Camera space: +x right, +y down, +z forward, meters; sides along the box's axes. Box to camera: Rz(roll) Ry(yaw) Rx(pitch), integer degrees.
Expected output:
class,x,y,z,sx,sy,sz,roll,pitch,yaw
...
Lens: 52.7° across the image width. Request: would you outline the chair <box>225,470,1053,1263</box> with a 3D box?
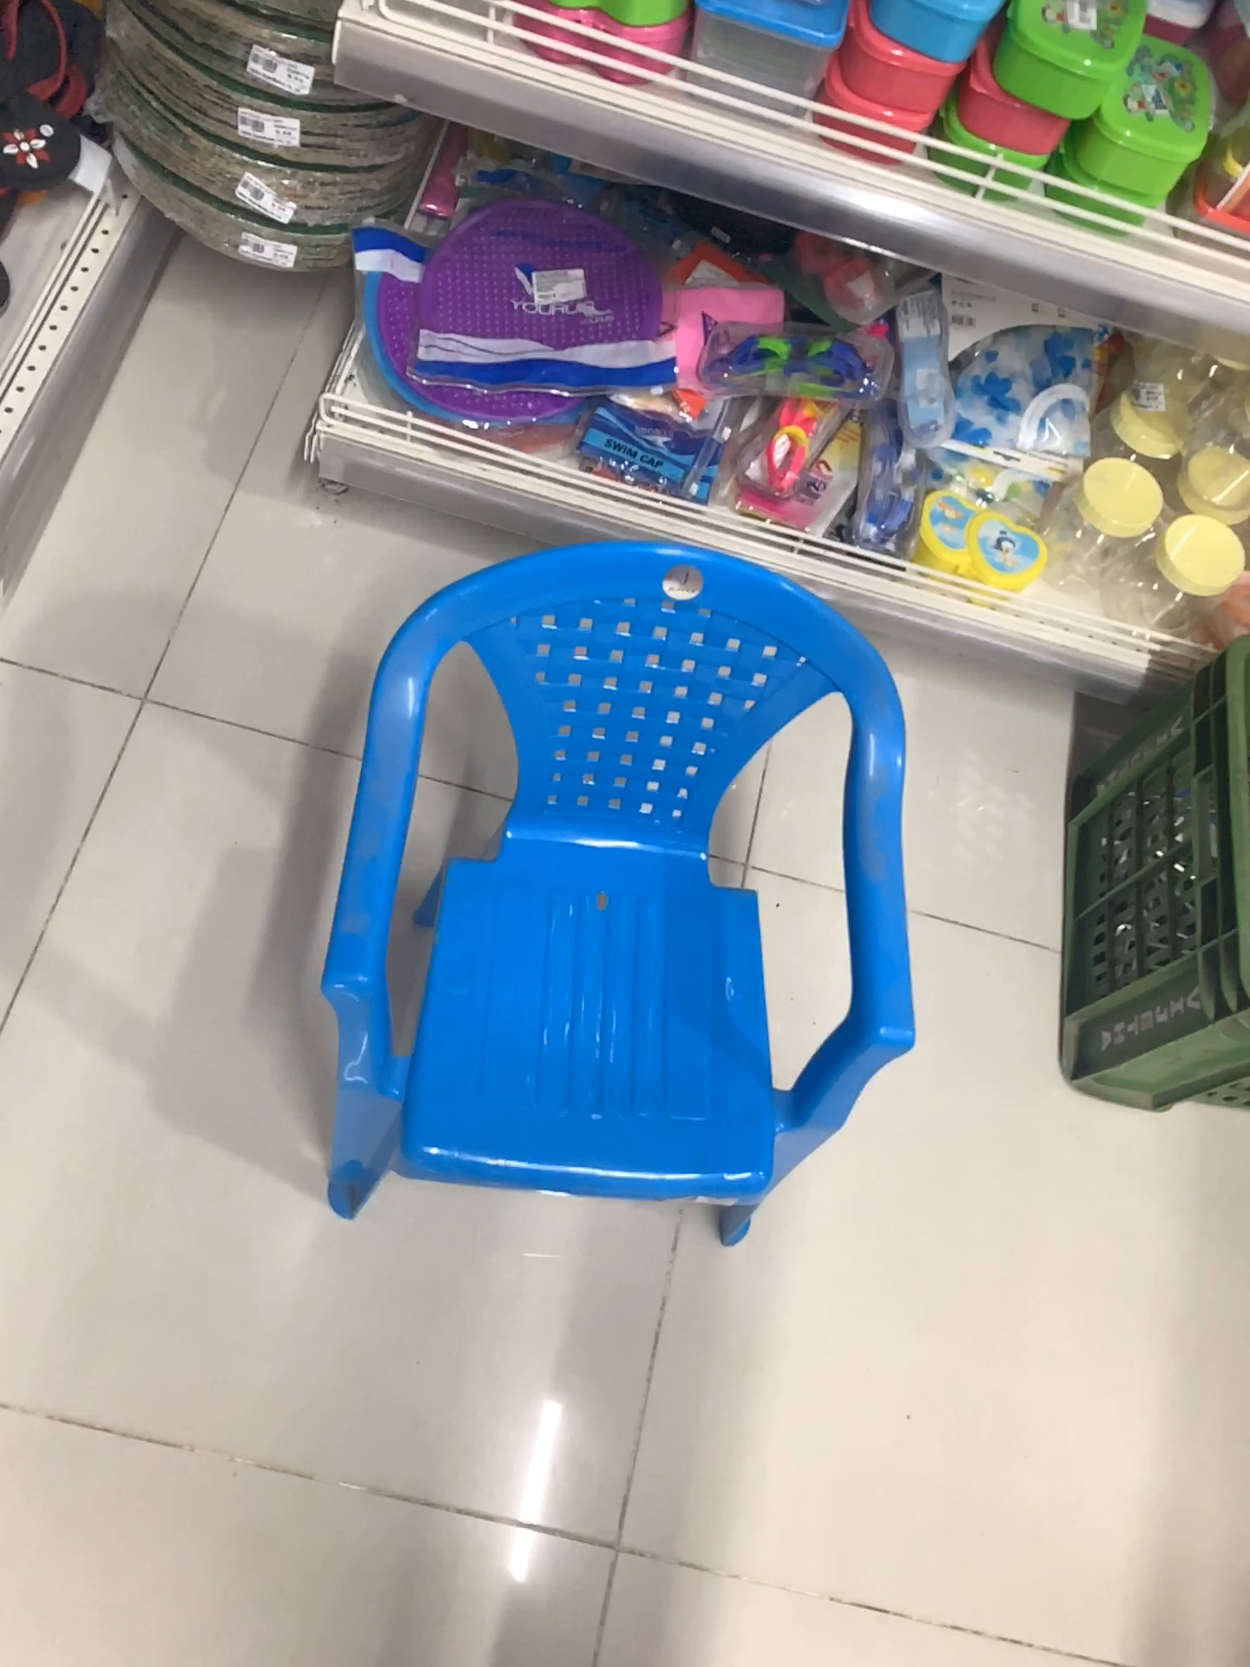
class,x,y,z,sx,sy,sz,roll,pitch,yaw
chair,-0.015,0.082,0.902,0.400,0.510,0.360,8,67,-7
